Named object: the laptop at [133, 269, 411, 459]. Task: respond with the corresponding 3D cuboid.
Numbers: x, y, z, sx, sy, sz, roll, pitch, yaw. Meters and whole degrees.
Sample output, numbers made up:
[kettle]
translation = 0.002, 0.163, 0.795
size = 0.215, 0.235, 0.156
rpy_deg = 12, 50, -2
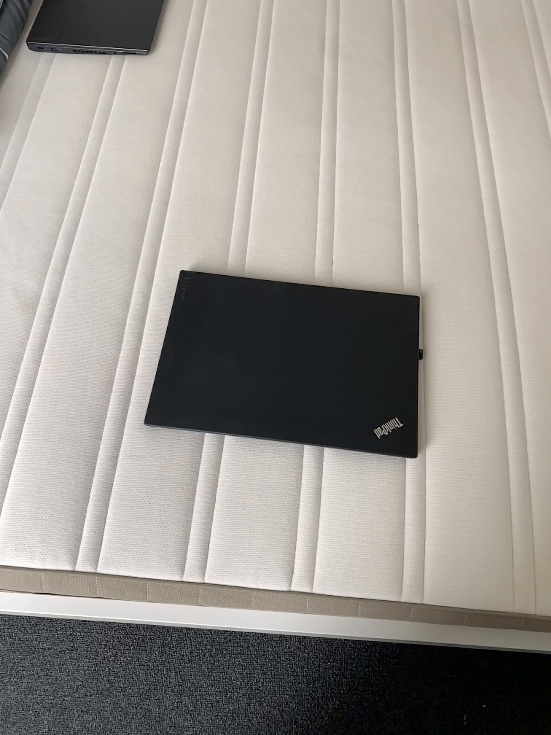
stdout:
[laptop]
translation = 0.004, -0.010, 0.631
size = 0.288, 0.005, 0.193
rpy_deg = 7, 67, 2
